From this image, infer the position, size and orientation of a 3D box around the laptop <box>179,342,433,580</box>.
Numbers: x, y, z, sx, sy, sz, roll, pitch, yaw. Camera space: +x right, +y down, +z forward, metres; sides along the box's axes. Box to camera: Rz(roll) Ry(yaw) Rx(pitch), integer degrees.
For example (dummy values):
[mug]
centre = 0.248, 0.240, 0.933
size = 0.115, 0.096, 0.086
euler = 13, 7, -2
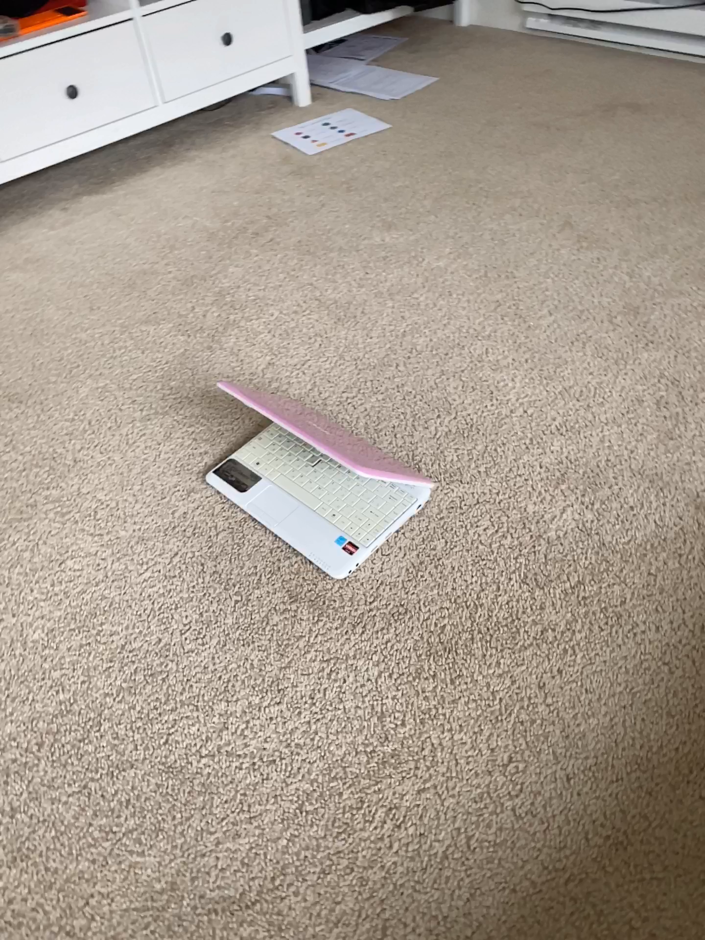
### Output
[laptop]
centre = -0.066, -0.026, 0.996
size = 0.298, 0.122, 0.197
euler = 32, 59, 34
